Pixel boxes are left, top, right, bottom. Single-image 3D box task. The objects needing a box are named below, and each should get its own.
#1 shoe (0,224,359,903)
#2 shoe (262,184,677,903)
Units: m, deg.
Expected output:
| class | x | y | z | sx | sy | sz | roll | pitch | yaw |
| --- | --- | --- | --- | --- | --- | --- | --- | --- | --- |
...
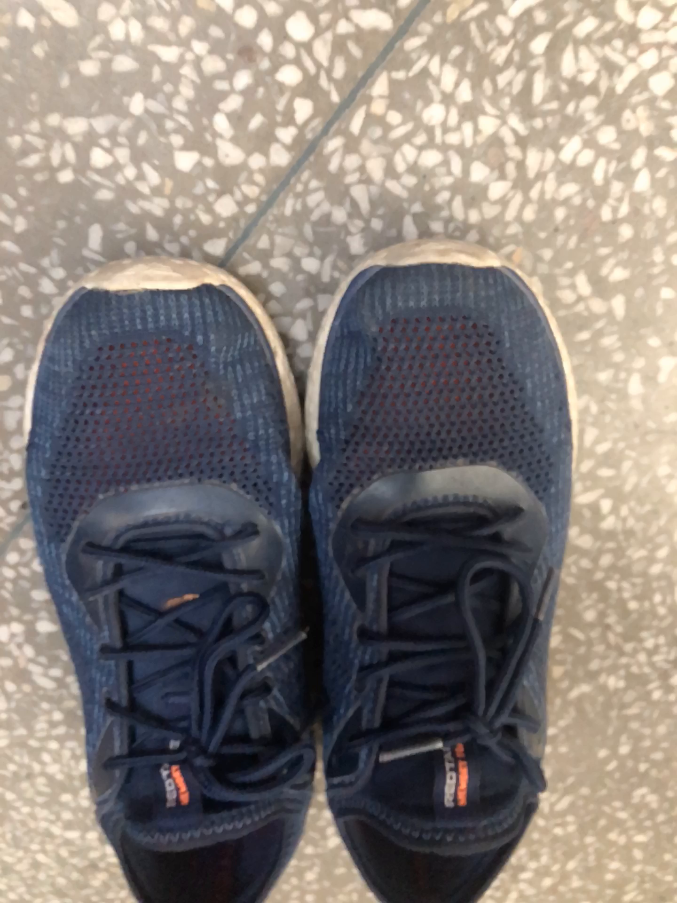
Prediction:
| class | x | y | z | sx | sy | sz | roll | pitch | yaw |
| --- | --- | --- | --- | --- | --- | --- | --- | --- | --- |
| shoe | -0.060 | 0.057 | 0.288 | 0.113 | 0.099 | 0.250 | -5 | 118 | 0 |
| shoe | 0.048 | 0.042 | 0.285 | 0.123 | 0.099 | 0.250 | -4 | 118 | -1 |
